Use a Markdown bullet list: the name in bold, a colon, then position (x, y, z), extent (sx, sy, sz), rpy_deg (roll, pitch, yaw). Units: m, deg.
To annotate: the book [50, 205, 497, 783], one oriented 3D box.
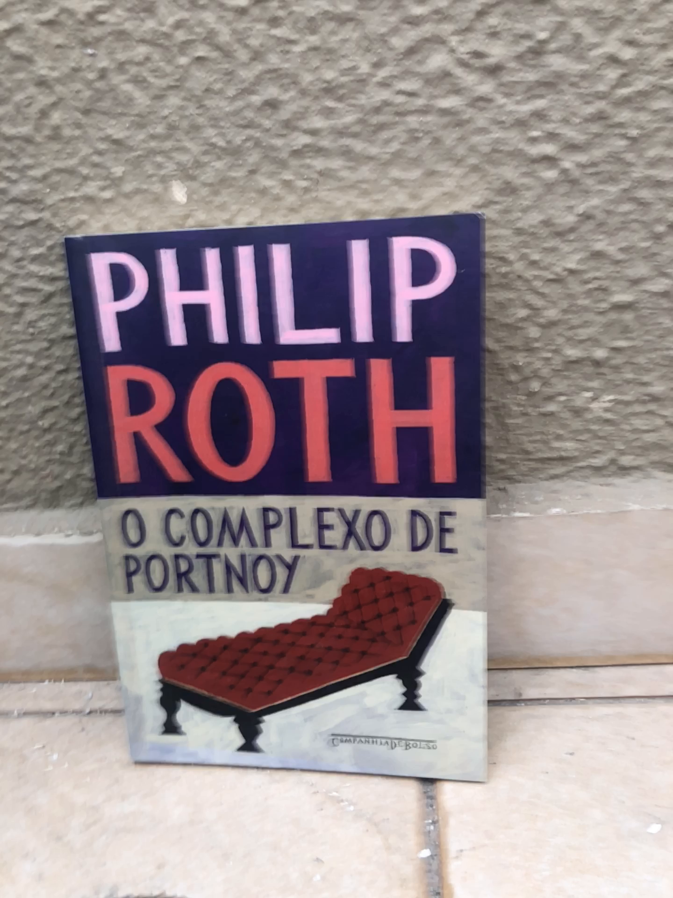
- **book**: position (-0.014, 0.020, 0.241), extent (0.126, 0.179, 0.023), rpy_deg (-1, 15, 9)
